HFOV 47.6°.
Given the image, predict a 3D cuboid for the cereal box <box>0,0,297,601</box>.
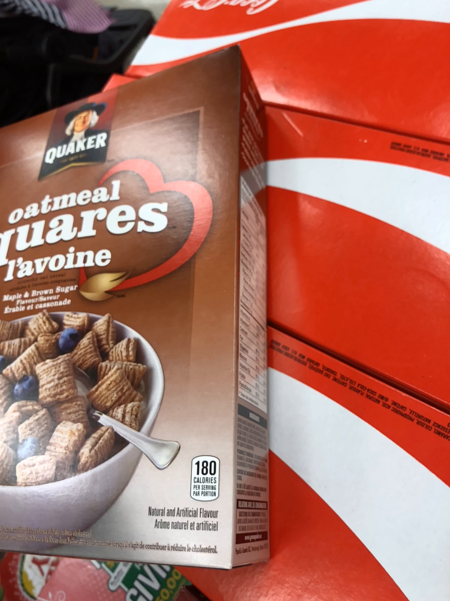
[{"bbox_3d":[-0.088,-0.011,0.280,0.241,0.050,0.290,-8,65,22],"label":"cereal box"}]
